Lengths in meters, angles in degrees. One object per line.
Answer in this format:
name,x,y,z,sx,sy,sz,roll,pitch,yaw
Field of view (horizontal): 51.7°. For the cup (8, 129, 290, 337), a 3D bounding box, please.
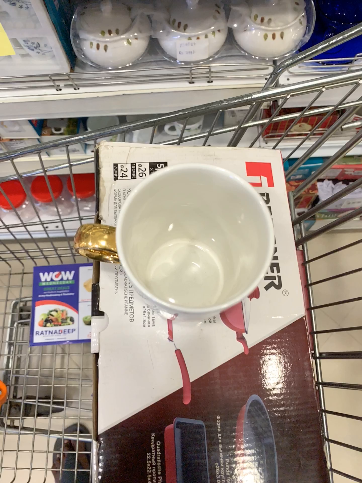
cup,-0.012,0.004,0.207,0.110,0.090,0.070,12,74,4
